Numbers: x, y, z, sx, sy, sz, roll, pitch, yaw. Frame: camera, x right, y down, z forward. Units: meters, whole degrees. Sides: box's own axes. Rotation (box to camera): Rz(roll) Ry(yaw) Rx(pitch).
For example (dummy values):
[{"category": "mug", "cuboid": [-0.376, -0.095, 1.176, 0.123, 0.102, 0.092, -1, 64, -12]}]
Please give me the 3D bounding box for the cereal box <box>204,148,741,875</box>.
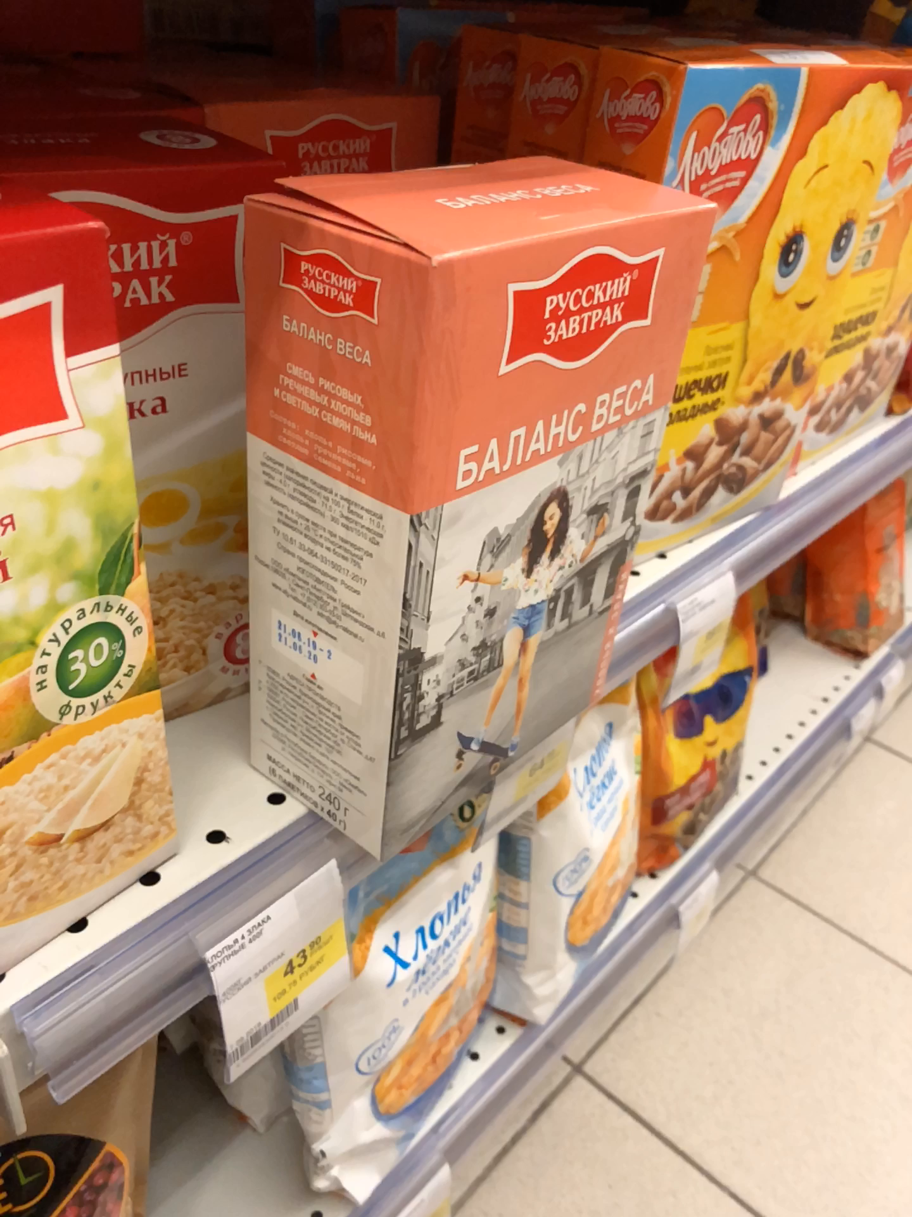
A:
[{"category": "cereal box", "cuboid": [0.003, -0.036, 0.317, 0.070, 0.179, 0.141, 29, 39, 30]}]
